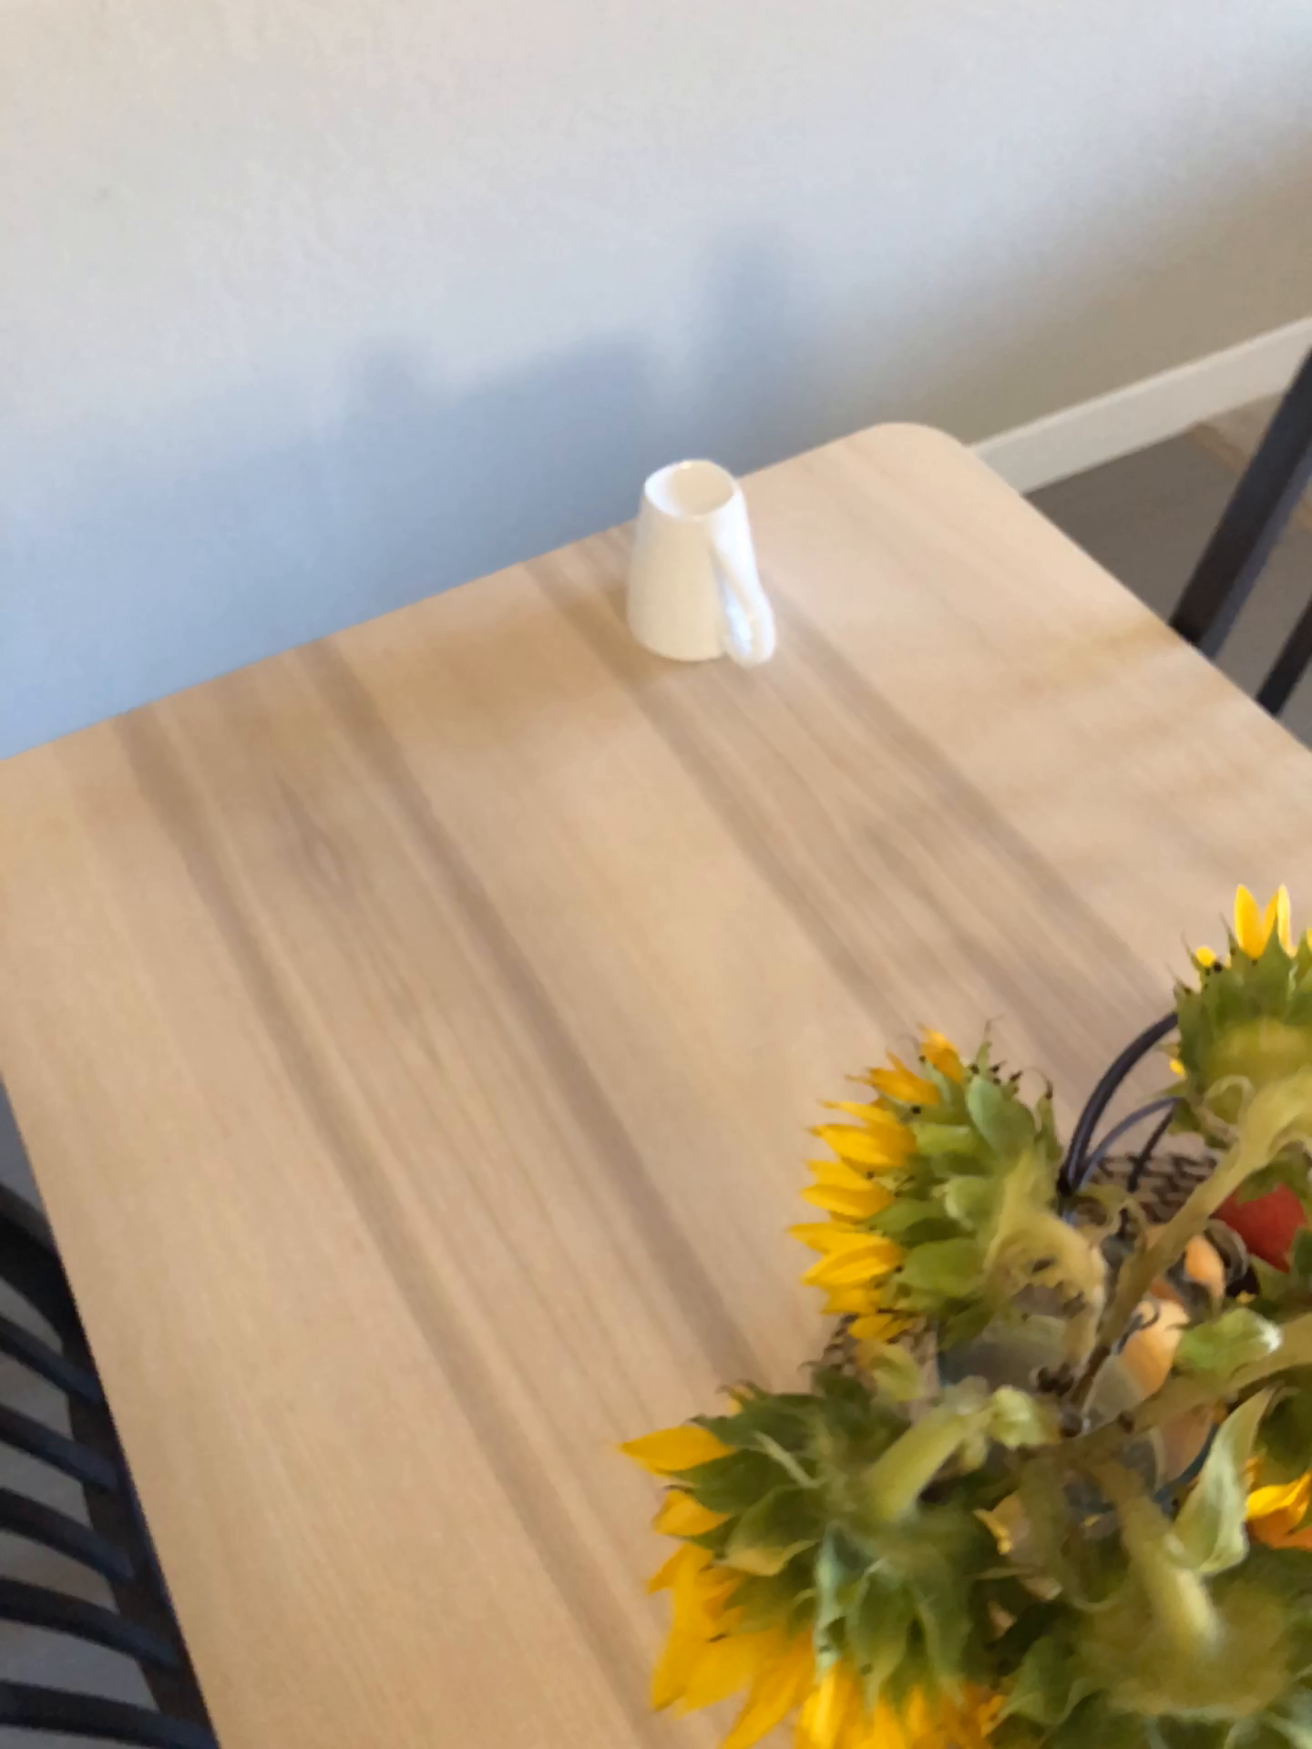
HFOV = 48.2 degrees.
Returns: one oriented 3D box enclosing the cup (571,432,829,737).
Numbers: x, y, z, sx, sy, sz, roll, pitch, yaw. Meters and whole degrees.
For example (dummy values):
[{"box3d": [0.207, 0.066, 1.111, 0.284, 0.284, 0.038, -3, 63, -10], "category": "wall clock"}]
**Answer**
[{"box3d": [0.027, -0.197, 0.990, 0.100, 0.120, 0.140, -31, 57, -22], "category": "cup"}]
